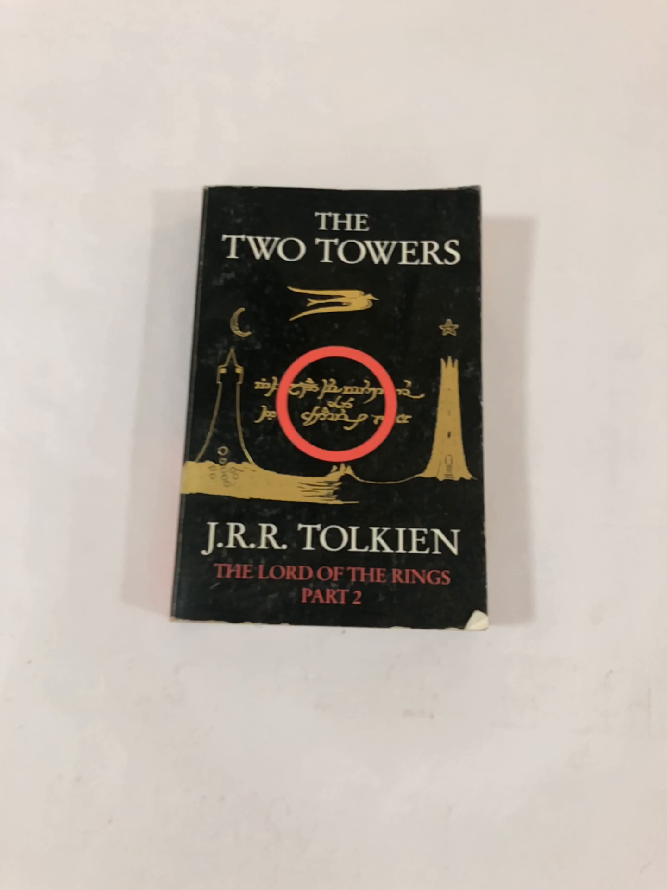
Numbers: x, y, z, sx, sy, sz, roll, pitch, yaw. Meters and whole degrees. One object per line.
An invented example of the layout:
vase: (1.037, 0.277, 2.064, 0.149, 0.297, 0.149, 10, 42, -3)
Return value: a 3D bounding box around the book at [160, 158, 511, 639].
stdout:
book: (0.003, -0.022, 0.317, 0.130, 0.030, 0.200, 2, 75, -2)
